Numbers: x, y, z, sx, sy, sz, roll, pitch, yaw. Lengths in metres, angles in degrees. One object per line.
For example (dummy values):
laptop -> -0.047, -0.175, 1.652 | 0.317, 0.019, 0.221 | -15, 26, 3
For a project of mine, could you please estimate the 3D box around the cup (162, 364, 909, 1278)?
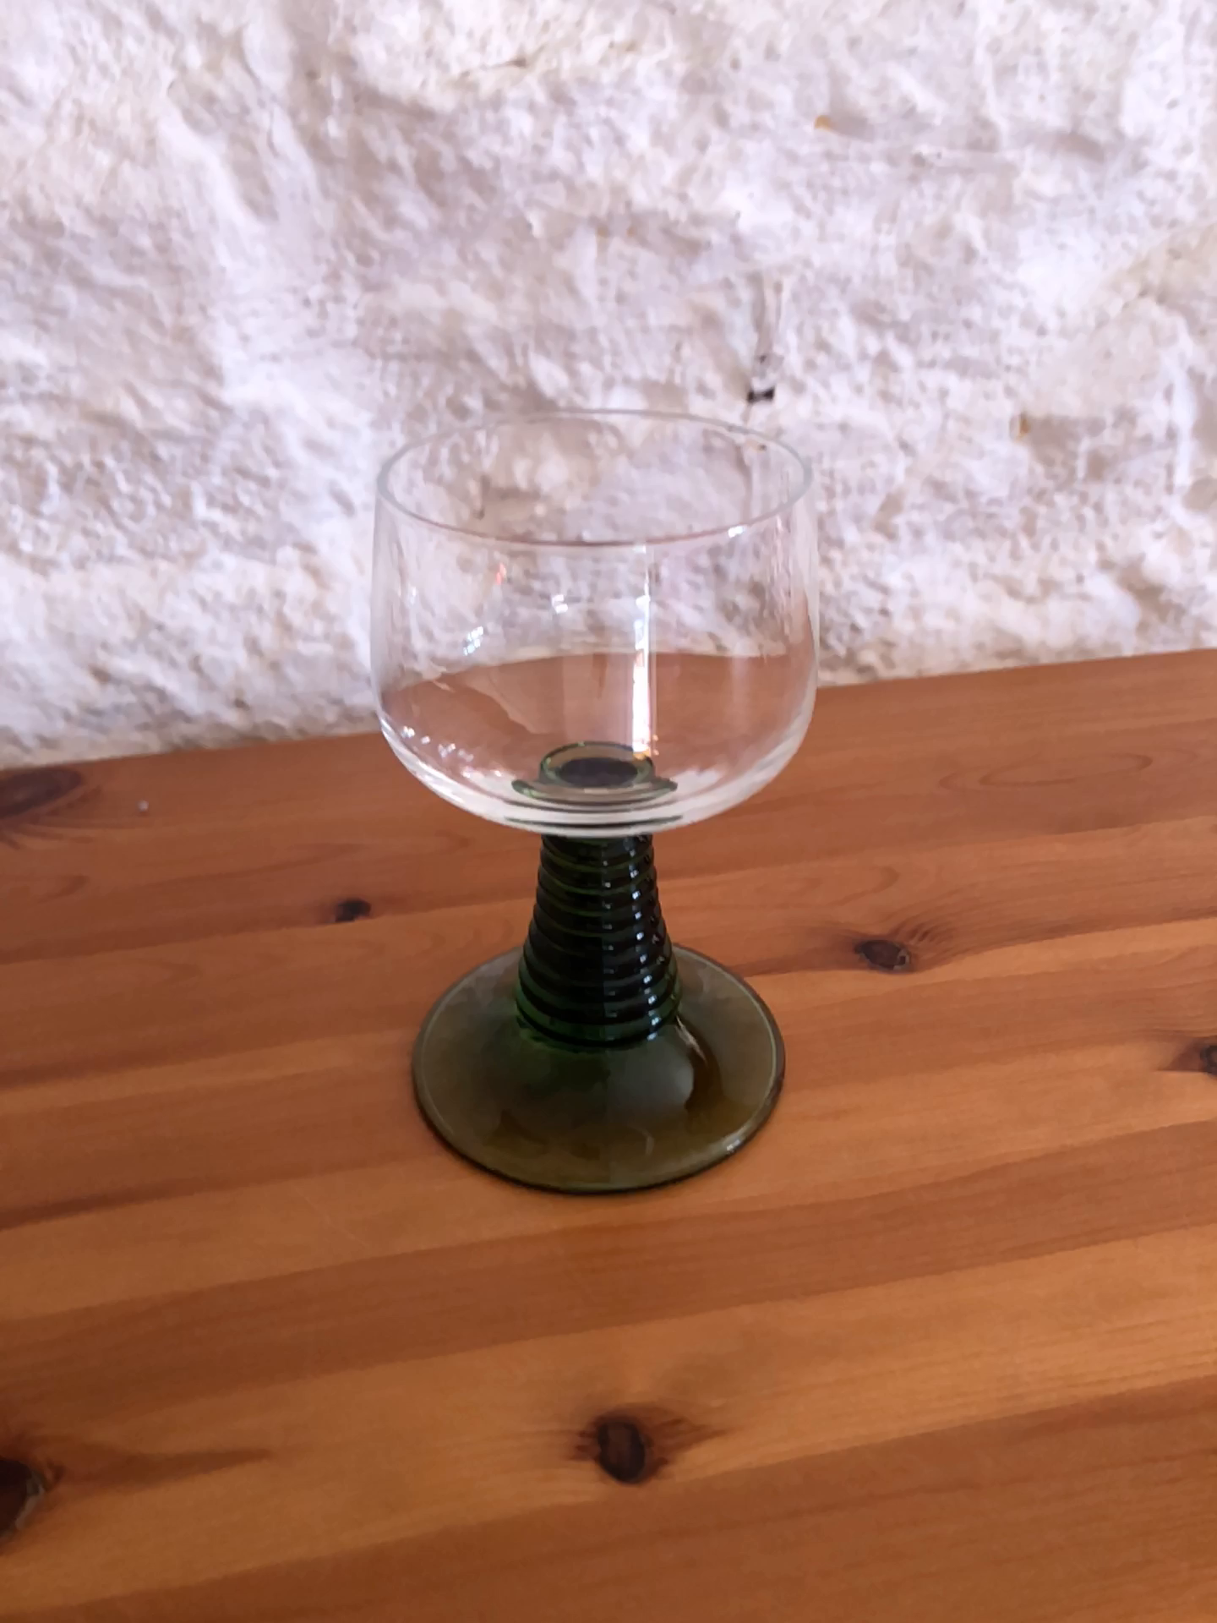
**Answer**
cup -> -0.007, -0.004, 0.213 | 0.073, 0.106, 0.075 | 0, 30, 0
